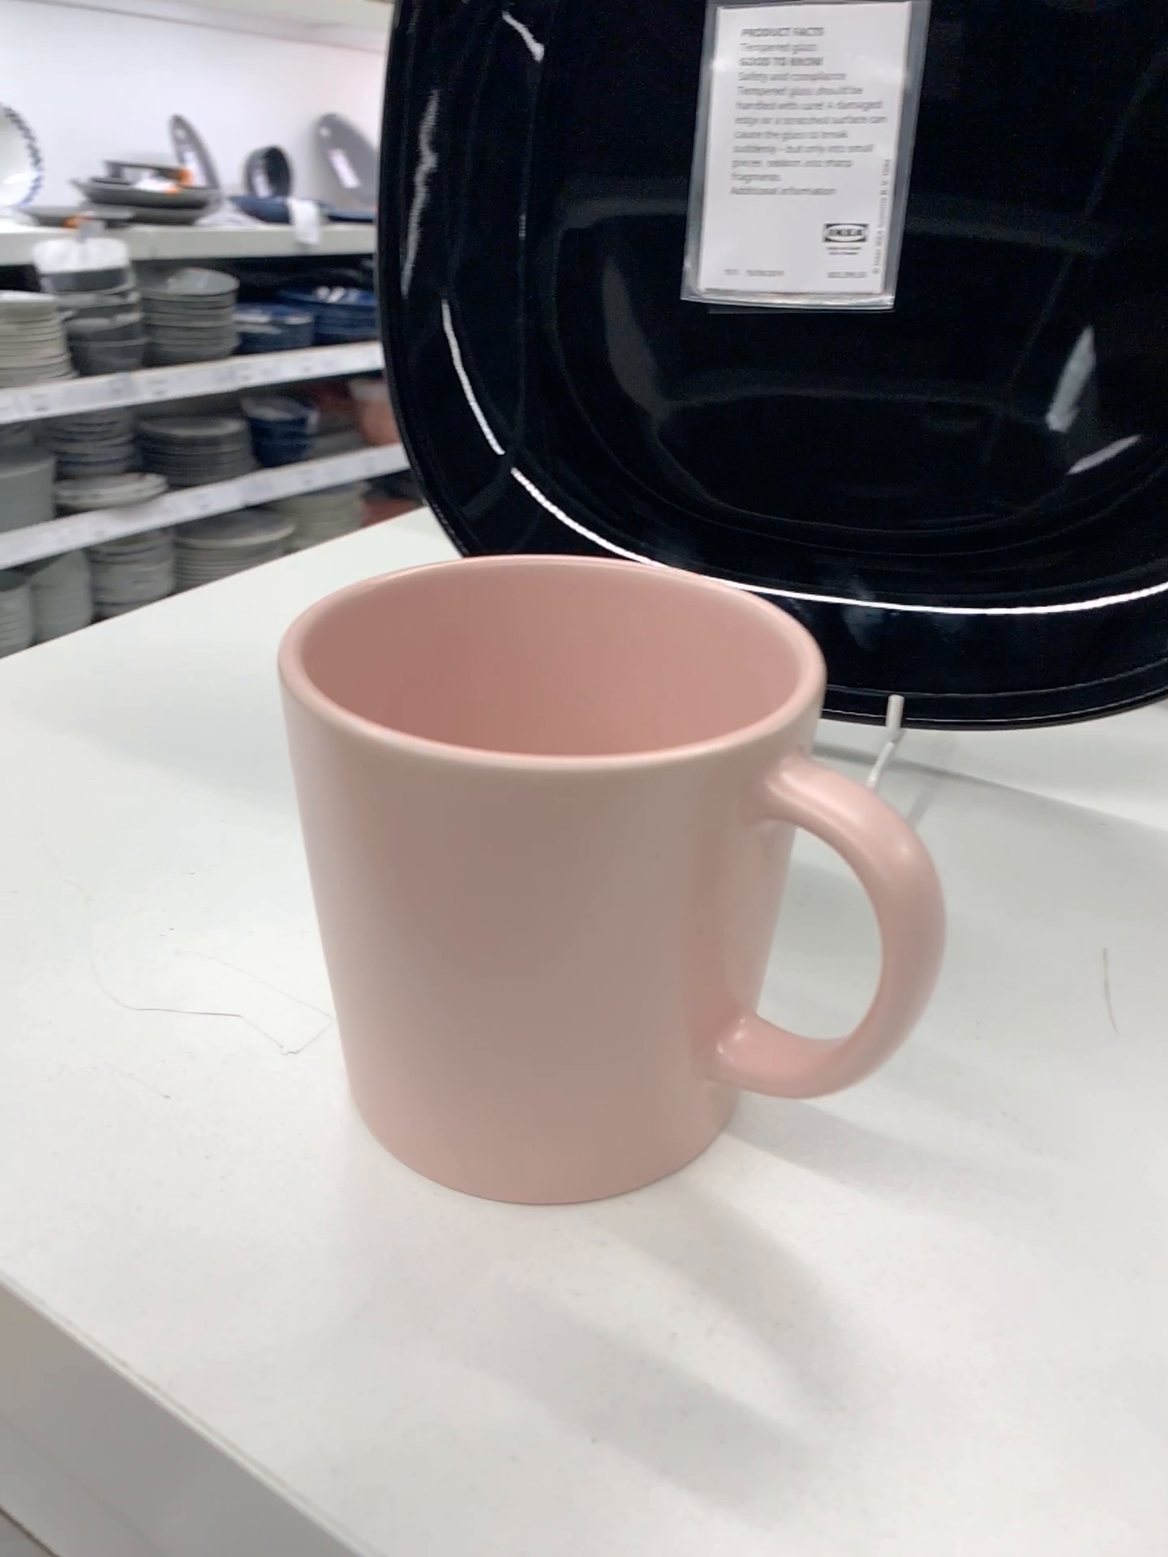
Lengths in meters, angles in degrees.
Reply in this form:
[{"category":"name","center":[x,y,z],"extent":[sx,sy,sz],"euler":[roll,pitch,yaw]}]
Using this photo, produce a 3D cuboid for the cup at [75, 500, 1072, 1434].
[{"category":"cup","center":[-0.004,0.013,0.199],"extent":[0.120,0.080,0.090],"euler":[23,33,33]}]
